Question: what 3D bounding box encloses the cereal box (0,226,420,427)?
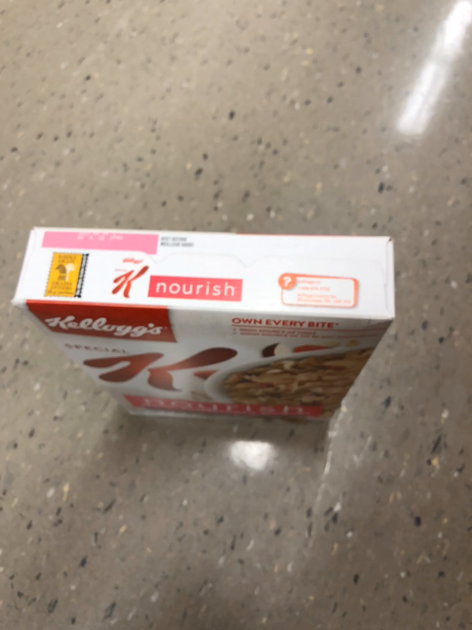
[{"bbox_3d":[-0.009,0.031,0.406,0.210,0.290,0.050,2,69,4],"label":"cereal box"}]
